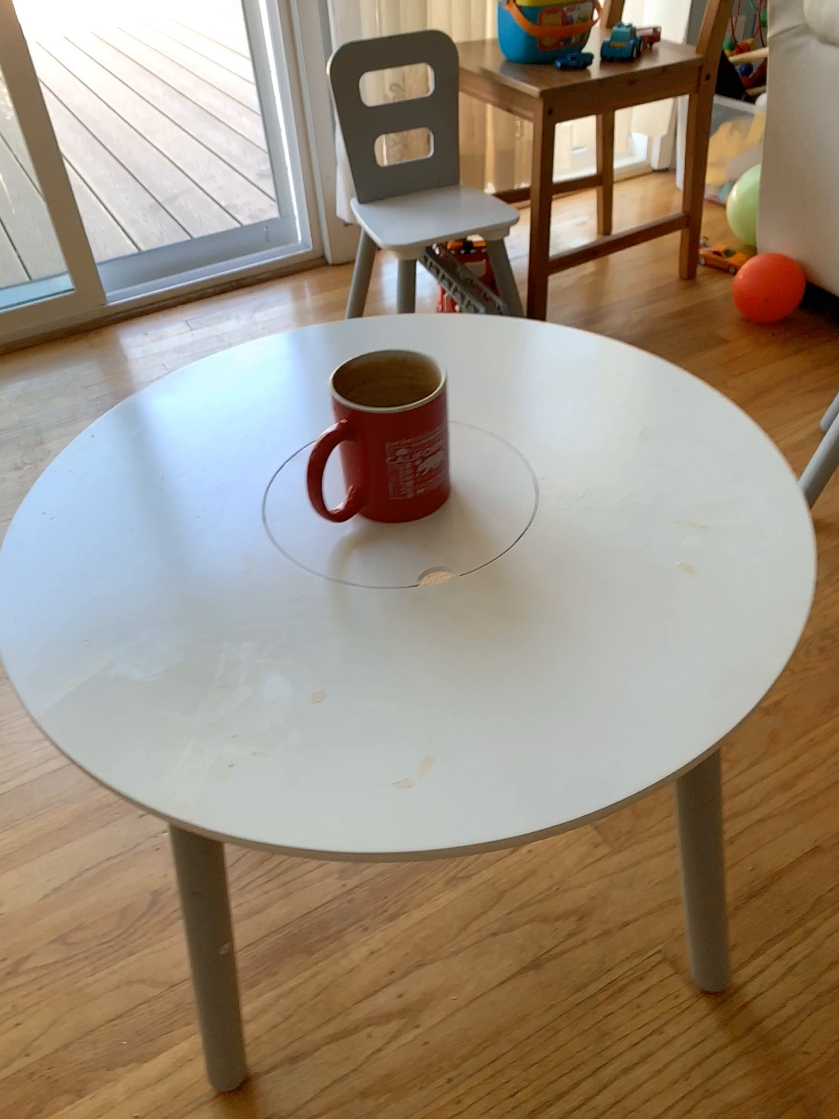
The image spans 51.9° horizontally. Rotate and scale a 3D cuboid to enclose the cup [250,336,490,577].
[{"bbox_3d":[-0.029,-0.074,0.594,0.130,0.090,0.090,-35,50,-29],"label":"cup"}]
